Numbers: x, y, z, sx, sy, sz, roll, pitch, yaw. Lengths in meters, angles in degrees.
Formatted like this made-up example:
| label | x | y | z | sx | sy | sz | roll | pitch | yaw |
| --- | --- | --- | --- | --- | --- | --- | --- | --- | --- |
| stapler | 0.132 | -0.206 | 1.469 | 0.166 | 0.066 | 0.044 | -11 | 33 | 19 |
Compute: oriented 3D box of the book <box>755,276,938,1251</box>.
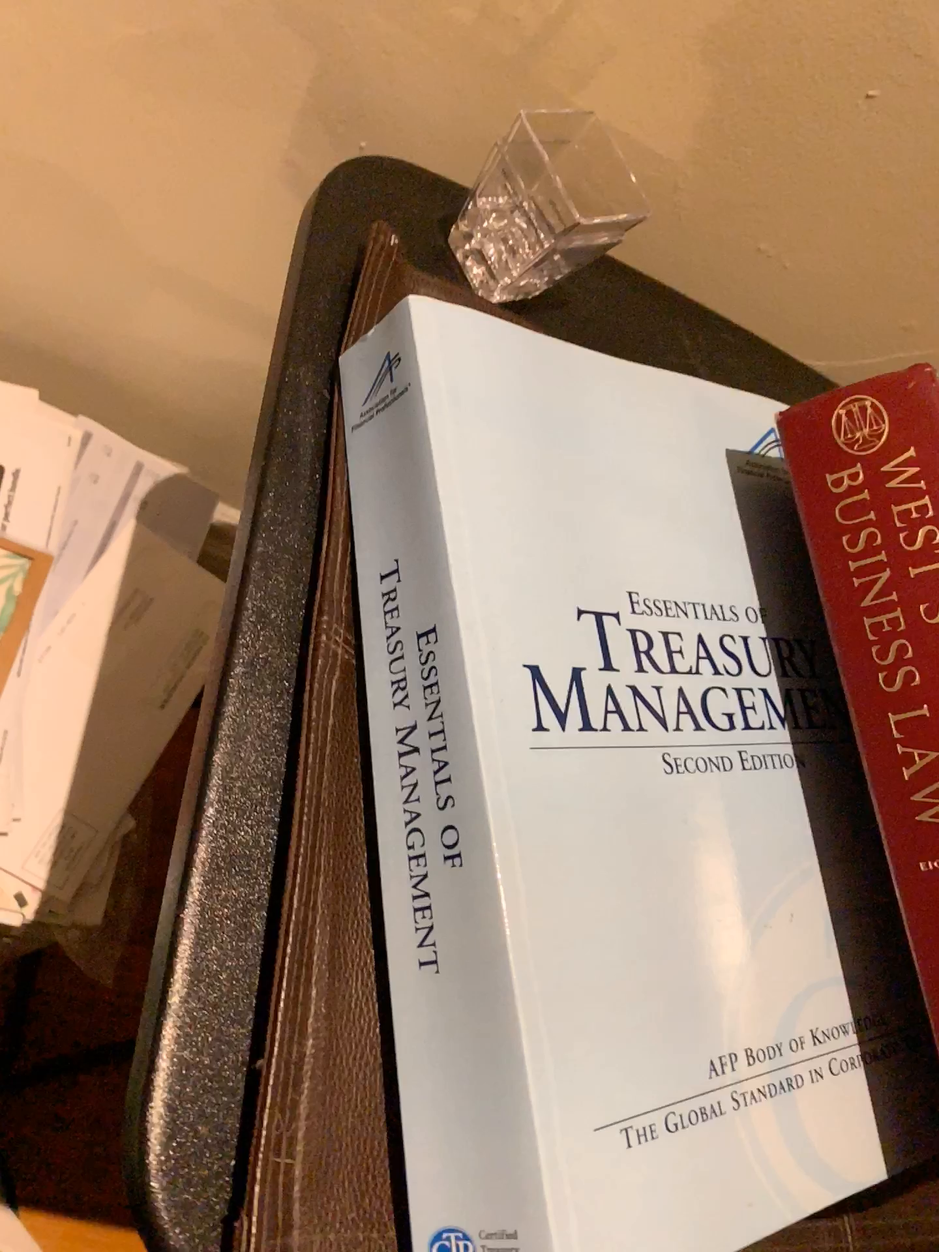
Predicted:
| label | x | y | z | sx | sy | sz | roll | pitch | yaw |
| --- | --- | --- | --- | --- | --- | --- | --- | --- | --- |
| book | 0.189 | 0.047 | 0.357 | 0.211 | 0.050 | 0.270 | 22 | 55 | -55 |

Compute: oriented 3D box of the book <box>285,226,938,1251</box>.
| label | x | y | z | sx | sy | sz | roll | pitch | yaw |
| --- | --- | --- | --- | --- | --- | --- | --- | --- | --- |
| book | 0.066 | 0.040 | 0.305 | 0.221 | 0.070 | 0.270 | 6 | 66 | -33 |
